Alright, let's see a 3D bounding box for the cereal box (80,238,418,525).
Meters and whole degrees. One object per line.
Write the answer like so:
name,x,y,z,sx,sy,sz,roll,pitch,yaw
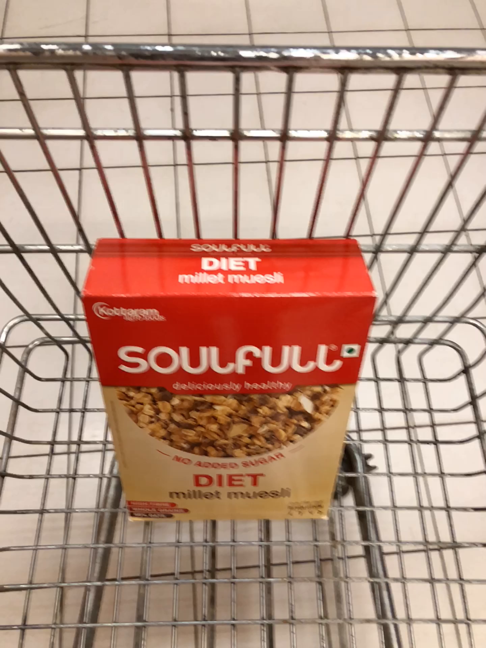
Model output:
cereal box,0.000,0.058,0.376,0.170,0.249,0.050,0,44,-2
